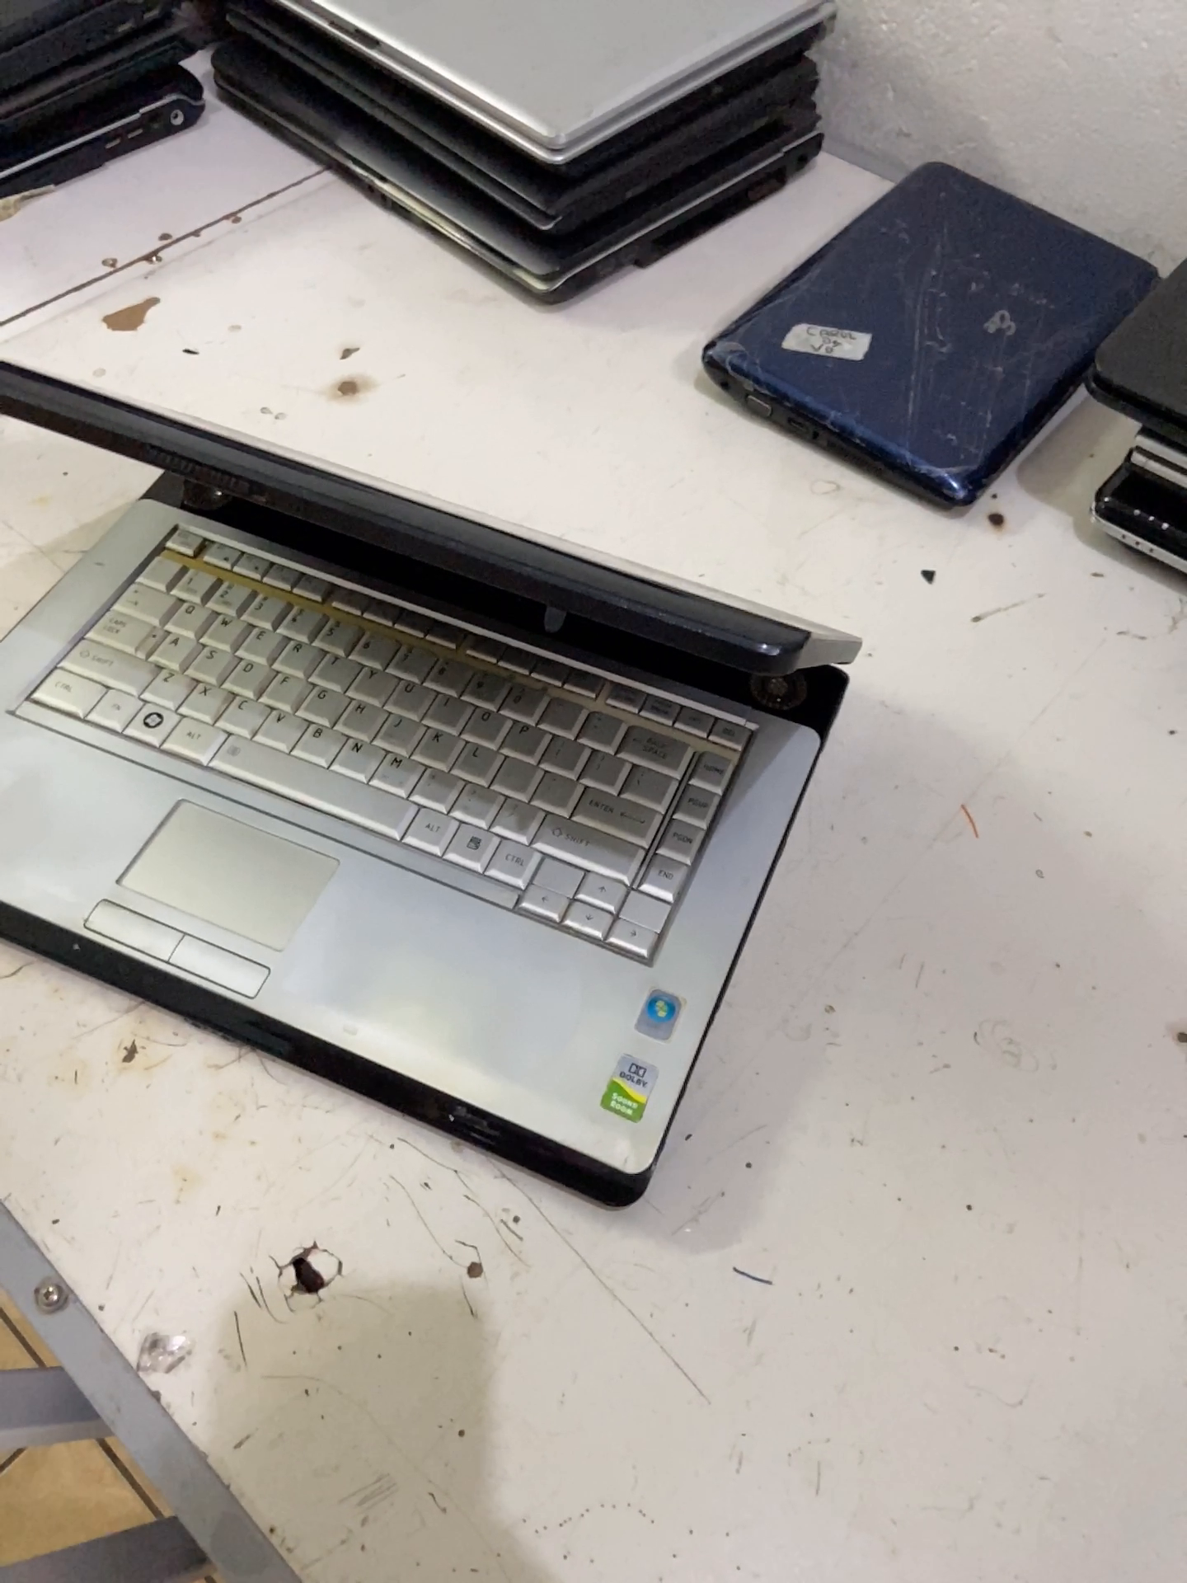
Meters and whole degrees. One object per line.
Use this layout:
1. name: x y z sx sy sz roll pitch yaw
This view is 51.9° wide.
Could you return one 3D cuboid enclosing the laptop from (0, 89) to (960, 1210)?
1. laptop: -0.096 -0.066 0.451 0.356 0.185 0.257 20 58 13
